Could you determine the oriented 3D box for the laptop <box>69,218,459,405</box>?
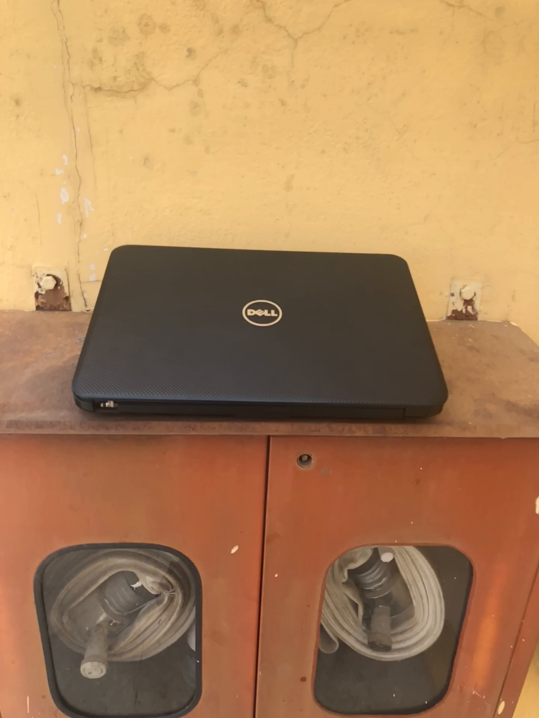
[{"bbox_3d":[-0.004,-0.058,0.626,0.352,0.098,0.184,1,34,-2],"label":"laptop"}]
